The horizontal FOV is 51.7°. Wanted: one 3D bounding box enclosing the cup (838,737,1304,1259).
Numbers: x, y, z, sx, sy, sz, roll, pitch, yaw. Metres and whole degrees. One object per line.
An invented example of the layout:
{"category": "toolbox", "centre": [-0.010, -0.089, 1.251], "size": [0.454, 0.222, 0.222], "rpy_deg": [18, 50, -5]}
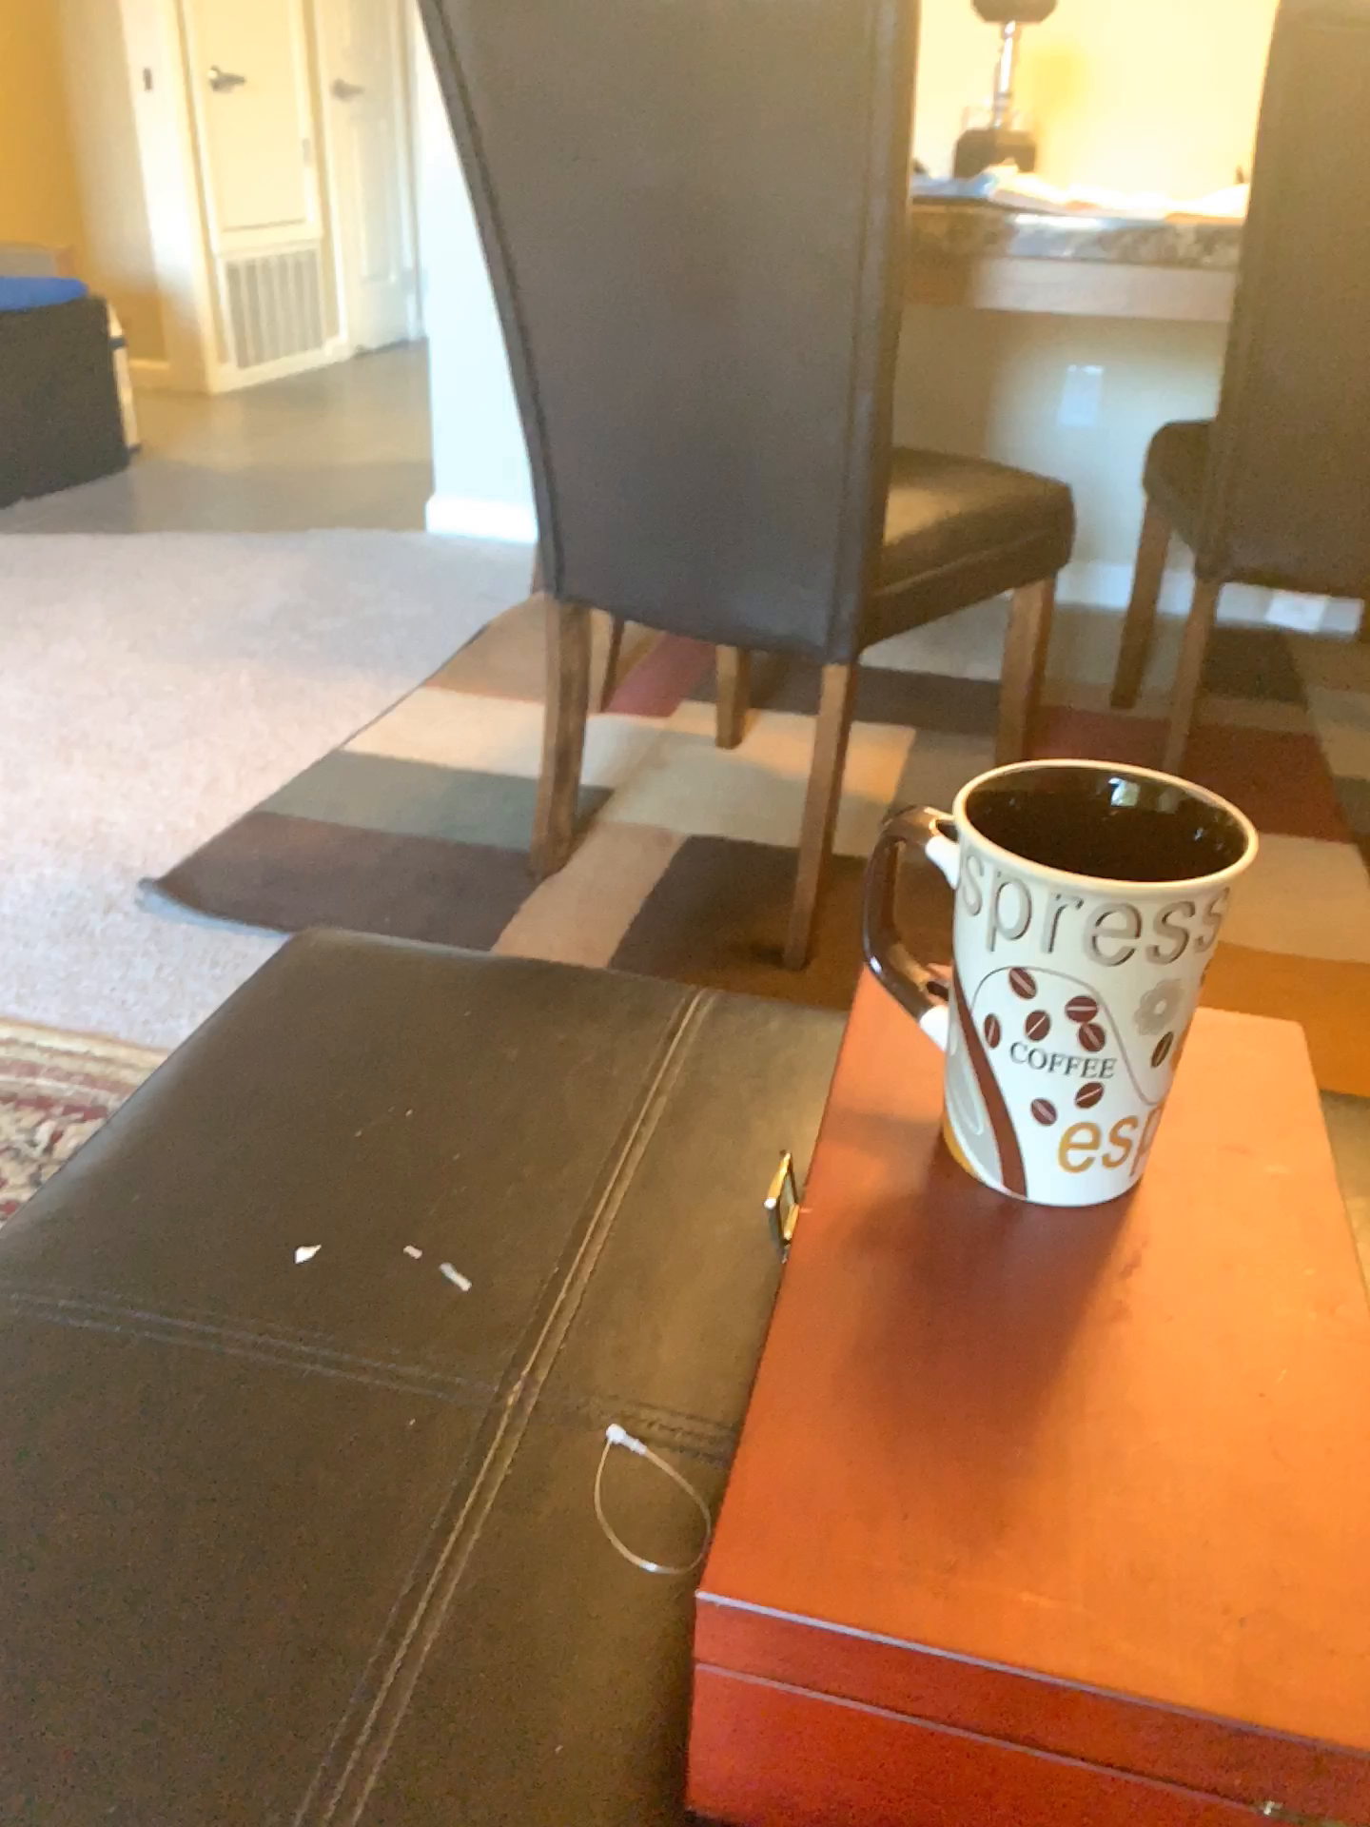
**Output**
{"category": "cup", "centre": [0.119, 0.021, 0.447], "size": [0.100, 0.109, 0.090], "rpy_deg": [20, 34, 29]}
